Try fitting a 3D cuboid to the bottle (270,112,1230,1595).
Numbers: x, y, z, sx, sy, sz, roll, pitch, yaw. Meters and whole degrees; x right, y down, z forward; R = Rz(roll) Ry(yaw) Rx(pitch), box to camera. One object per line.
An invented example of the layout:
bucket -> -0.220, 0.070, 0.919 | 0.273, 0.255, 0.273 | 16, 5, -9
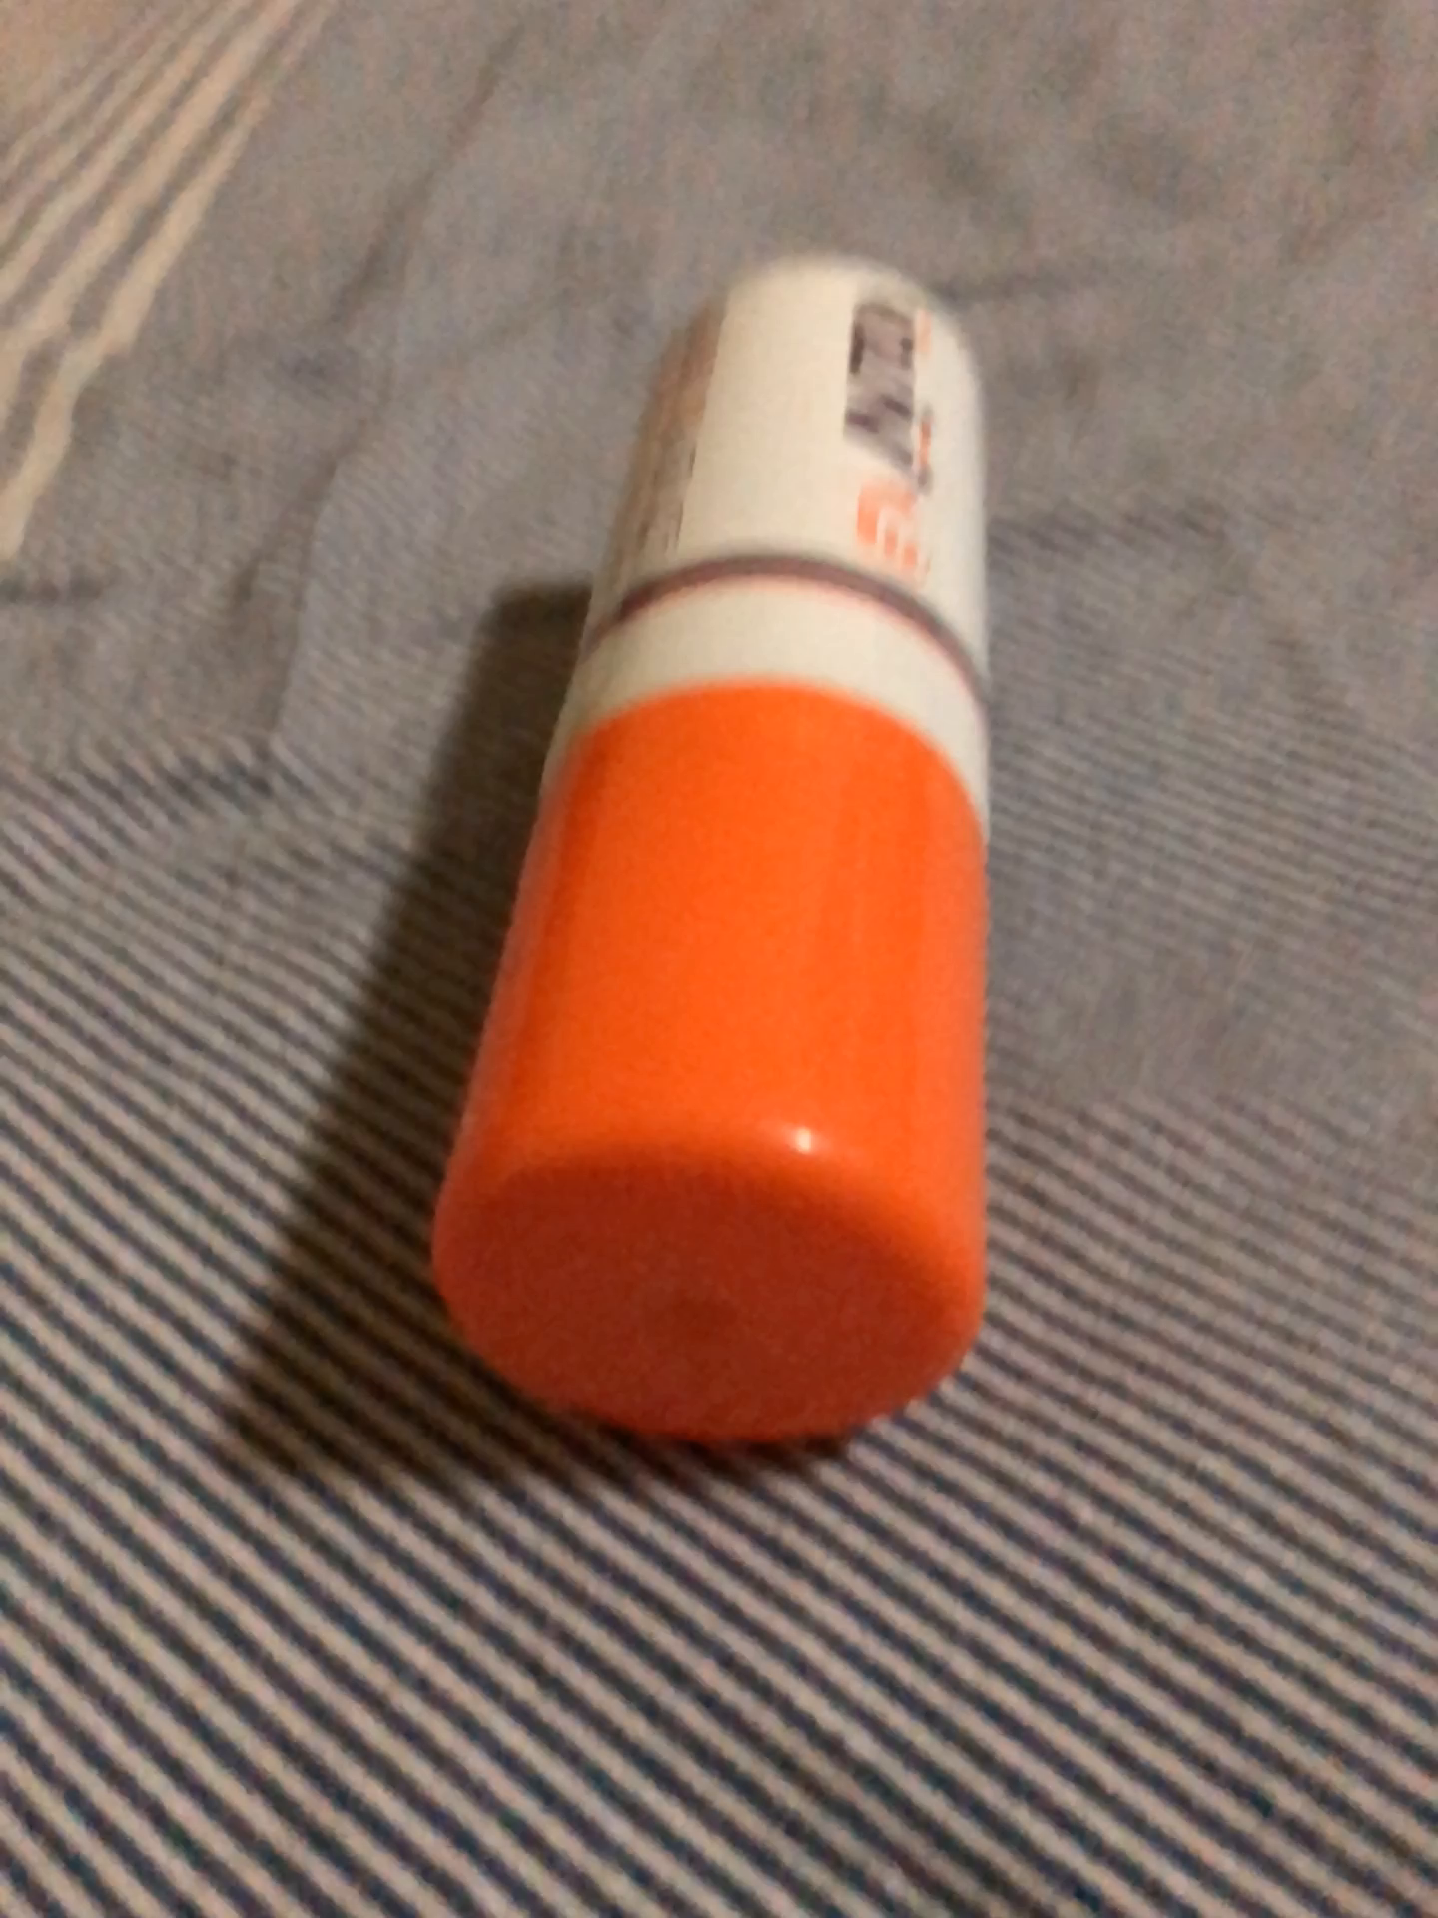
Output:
bottle -> 0.005, -0.019, 0.134 | 0.040, 0.040, 0.120 | 24, 44, -16
